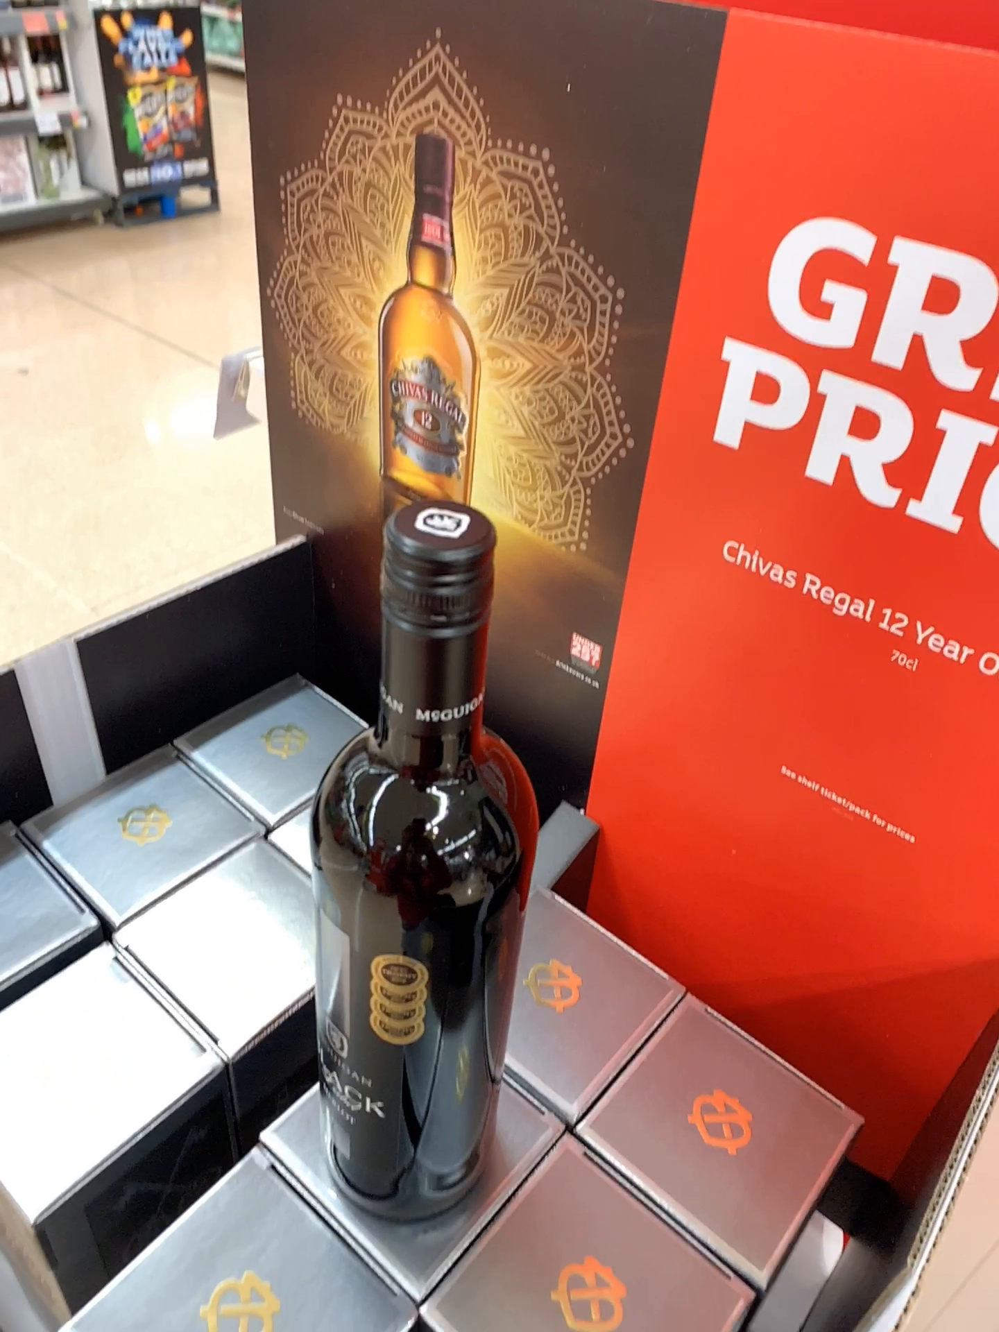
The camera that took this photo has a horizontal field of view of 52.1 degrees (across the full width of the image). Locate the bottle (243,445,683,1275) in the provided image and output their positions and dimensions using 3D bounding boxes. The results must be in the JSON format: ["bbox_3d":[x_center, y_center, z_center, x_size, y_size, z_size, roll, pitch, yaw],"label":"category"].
[{"bbox_3d":[-0.020,0.082,0.333,0.080,0.287,0.070,-20,45,-29],"label":"bottle"}]
